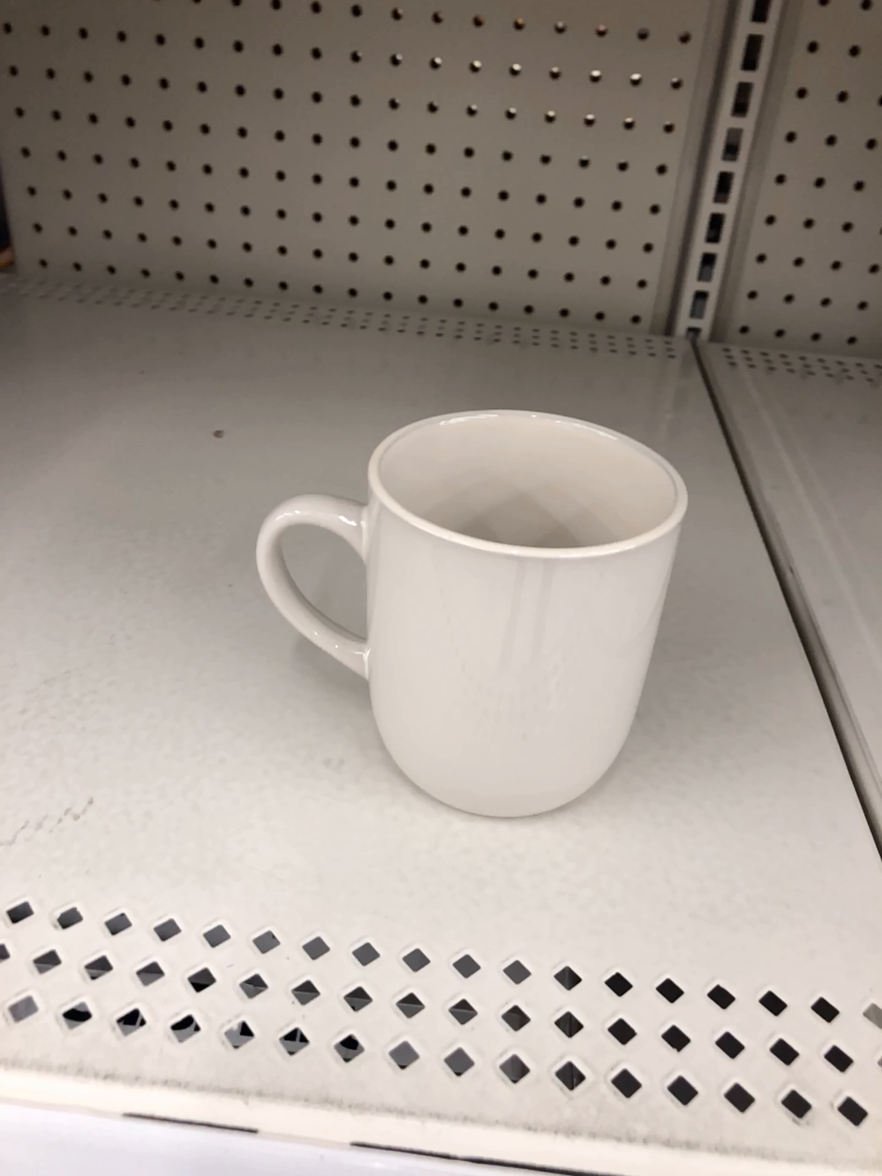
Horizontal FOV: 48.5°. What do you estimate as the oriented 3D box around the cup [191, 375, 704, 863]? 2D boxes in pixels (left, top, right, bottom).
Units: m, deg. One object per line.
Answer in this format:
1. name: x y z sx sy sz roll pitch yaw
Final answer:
1. cup: 0.005 0.003 0.286 0.121 0.090 0.087 10 32 9
